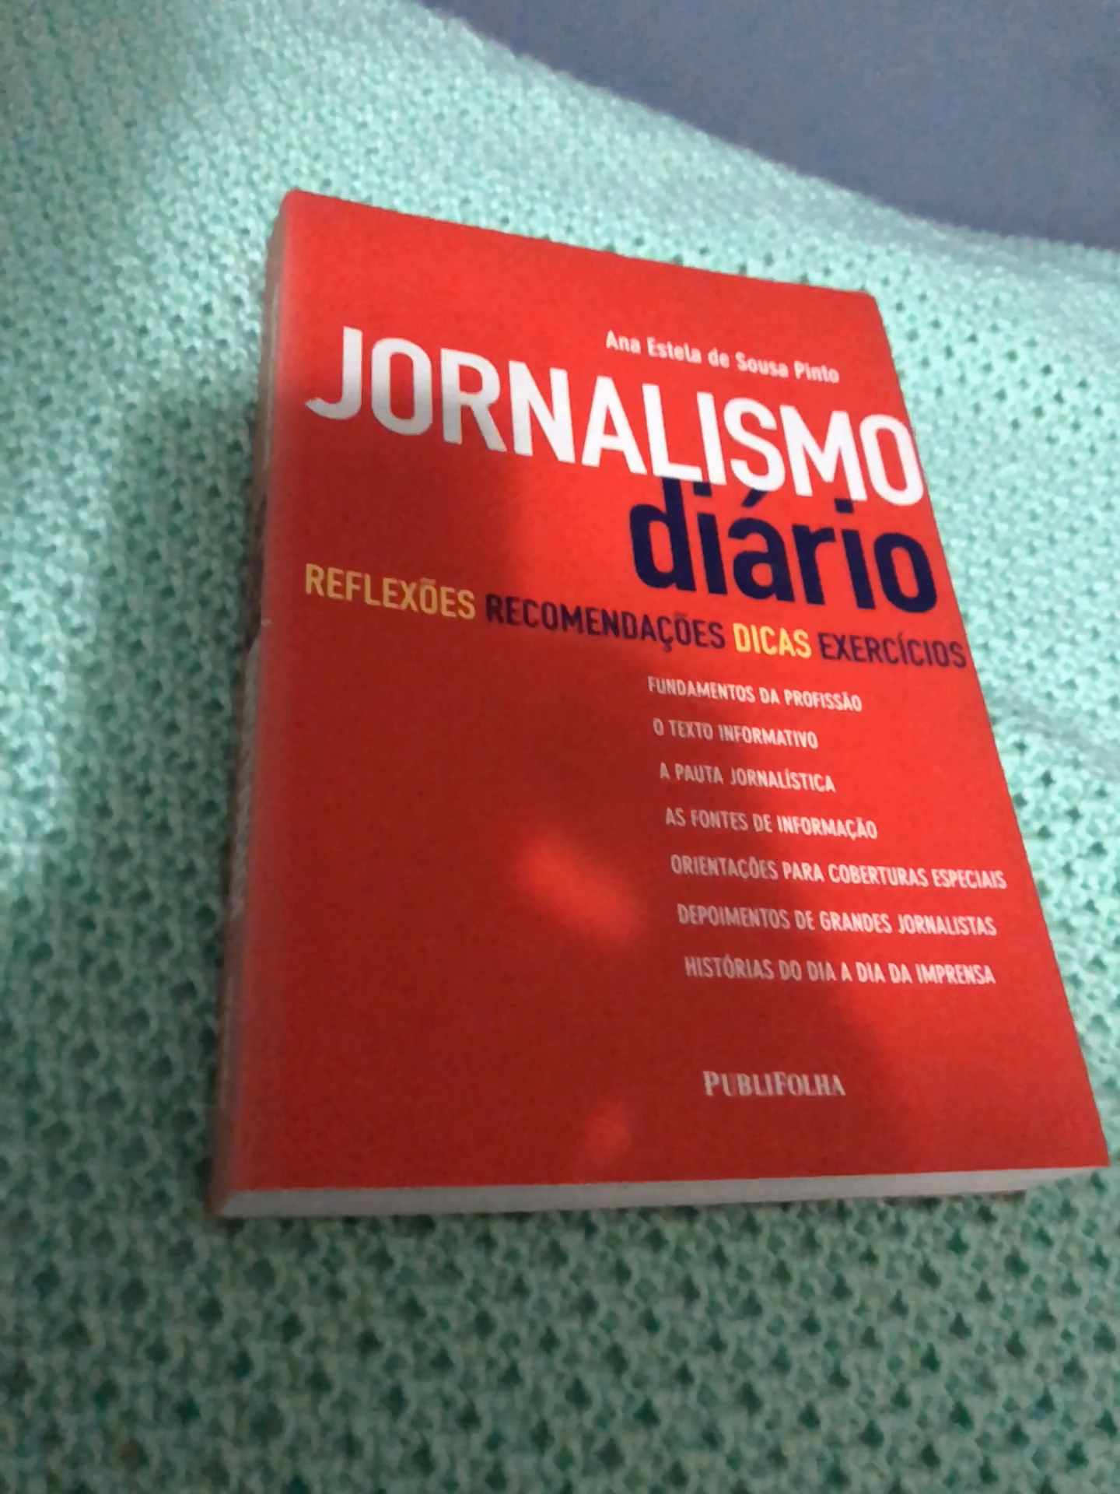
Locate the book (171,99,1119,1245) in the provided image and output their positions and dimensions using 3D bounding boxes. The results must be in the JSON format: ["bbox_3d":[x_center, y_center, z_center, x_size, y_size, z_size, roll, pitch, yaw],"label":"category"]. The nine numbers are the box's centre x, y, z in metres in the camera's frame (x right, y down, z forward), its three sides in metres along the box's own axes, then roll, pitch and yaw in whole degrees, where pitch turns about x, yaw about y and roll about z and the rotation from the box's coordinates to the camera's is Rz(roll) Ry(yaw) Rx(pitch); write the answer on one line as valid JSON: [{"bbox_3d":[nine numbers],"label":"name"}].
[{"bbox_3d":[0.013,-0.033,0.265,0.160,0.030,0.251,3,60,-13],"label":"book"}]
